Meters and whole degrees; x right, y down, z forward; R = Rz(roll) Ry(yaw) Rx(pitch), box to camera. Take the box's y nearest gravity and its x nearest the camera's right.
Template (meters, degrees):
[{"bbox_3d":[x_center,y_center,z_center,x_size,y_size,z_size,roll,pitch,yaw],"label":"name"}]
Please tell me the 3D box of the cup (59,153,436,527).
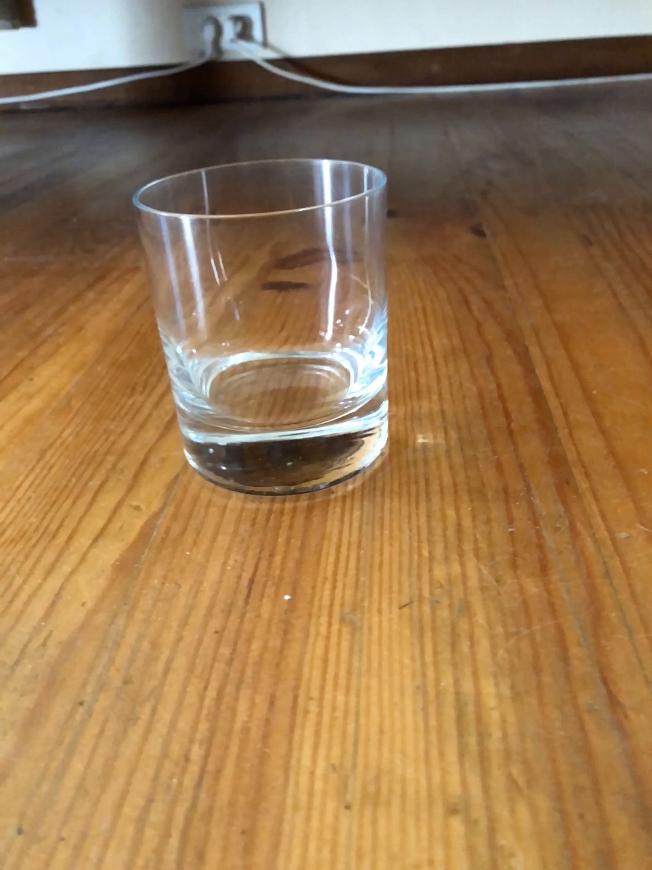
[{"bbox_3d":[-0.021,-0.041,0.252,0.082,0.090,0.087,-3,30,2],"label":"cup"}]
